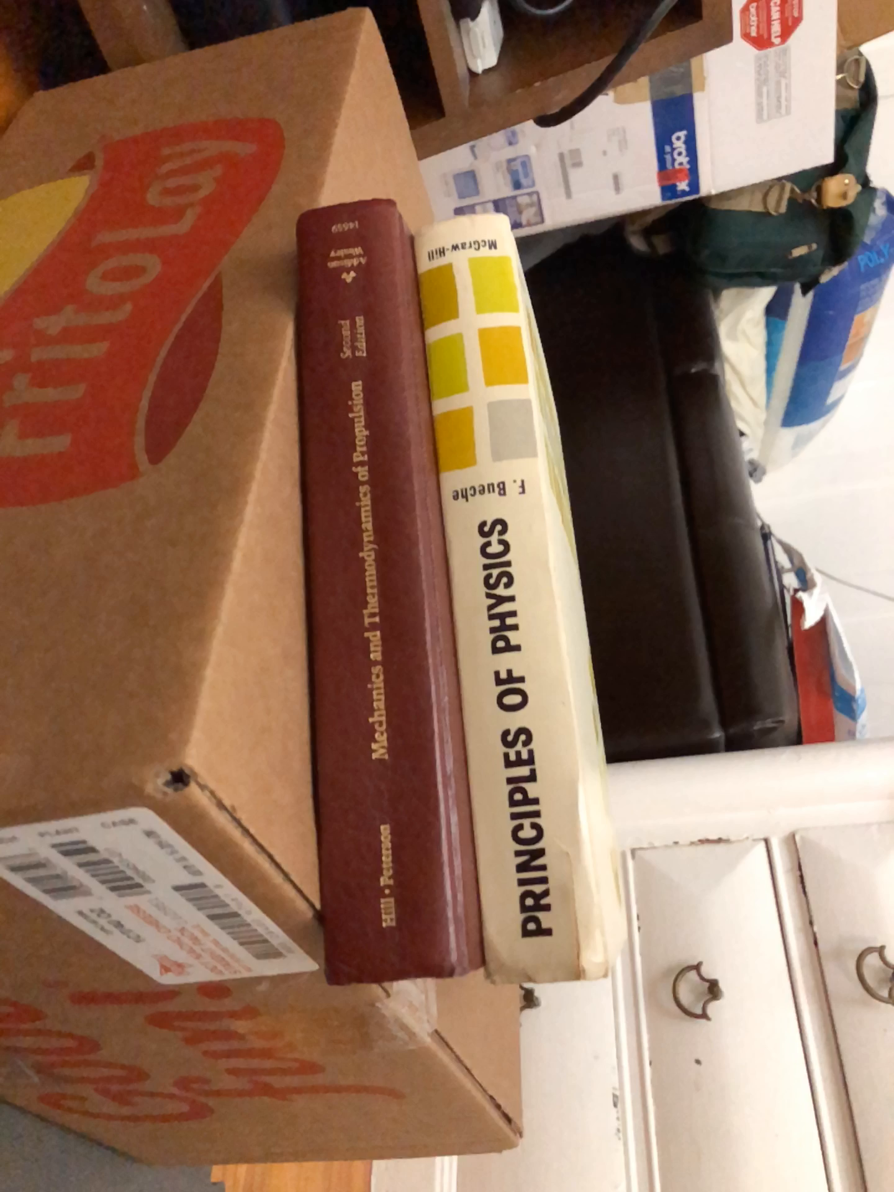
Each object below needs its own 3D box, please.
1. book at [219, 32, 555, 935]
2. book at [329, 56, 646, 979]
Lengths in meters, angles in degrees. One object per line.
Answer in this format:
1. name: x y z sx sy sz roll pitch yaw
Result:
1. book: -0.014 -0.020 0.339 0.180 0.040 0.250 48 33 -67
2. book: 0.021 -0.013 0.342 0.180 0.040 0.250 44 38 -69
